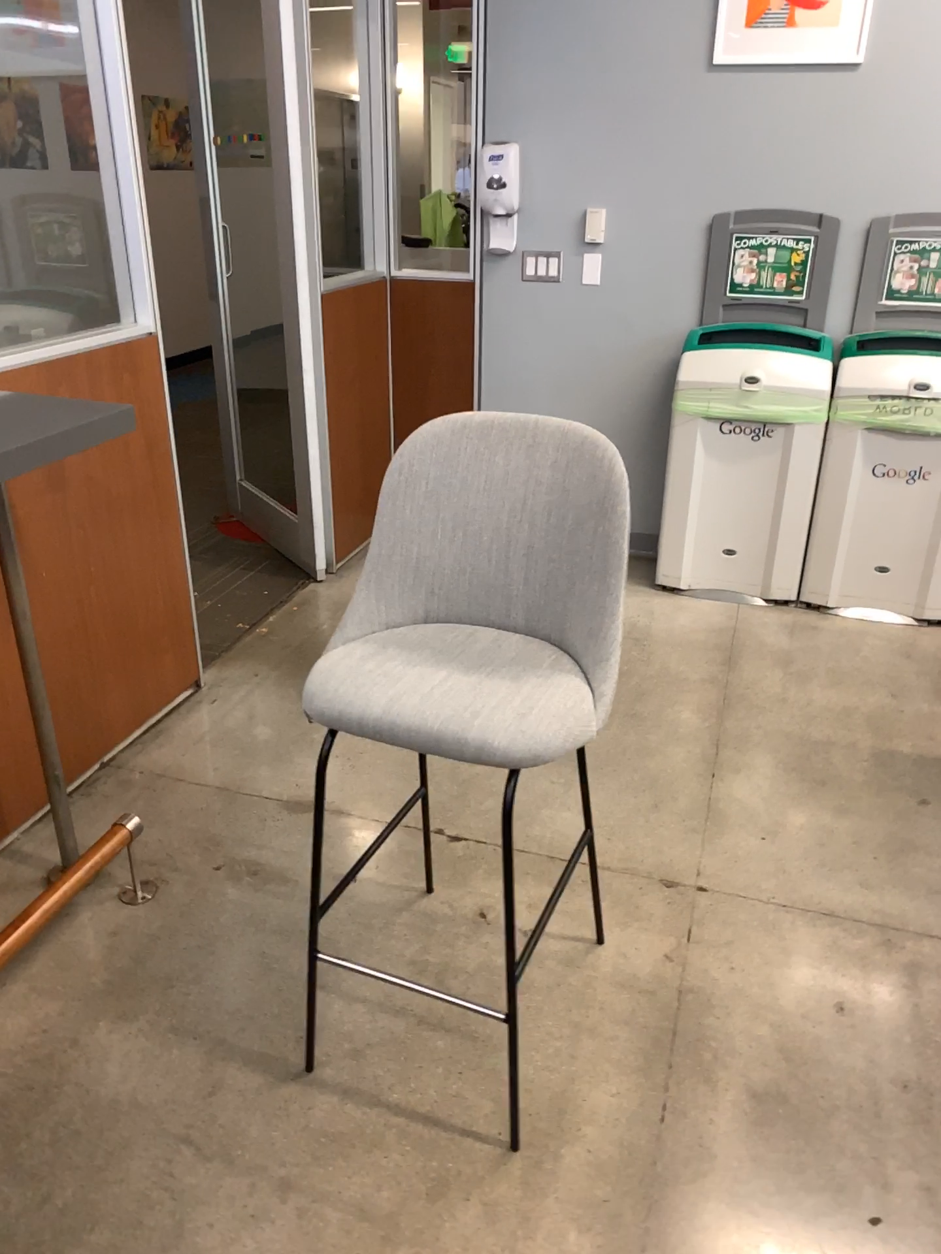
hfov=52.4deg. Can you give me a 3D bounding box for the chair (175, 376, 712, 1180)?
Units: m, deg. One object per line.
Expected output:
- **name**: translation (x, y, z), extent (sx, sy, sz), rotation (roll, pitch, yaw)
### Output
- **chair**: translation (0.017, 0.189, 1.759), extent (0.591, 1.094, 0.813), rotation (10, 26, 19)
